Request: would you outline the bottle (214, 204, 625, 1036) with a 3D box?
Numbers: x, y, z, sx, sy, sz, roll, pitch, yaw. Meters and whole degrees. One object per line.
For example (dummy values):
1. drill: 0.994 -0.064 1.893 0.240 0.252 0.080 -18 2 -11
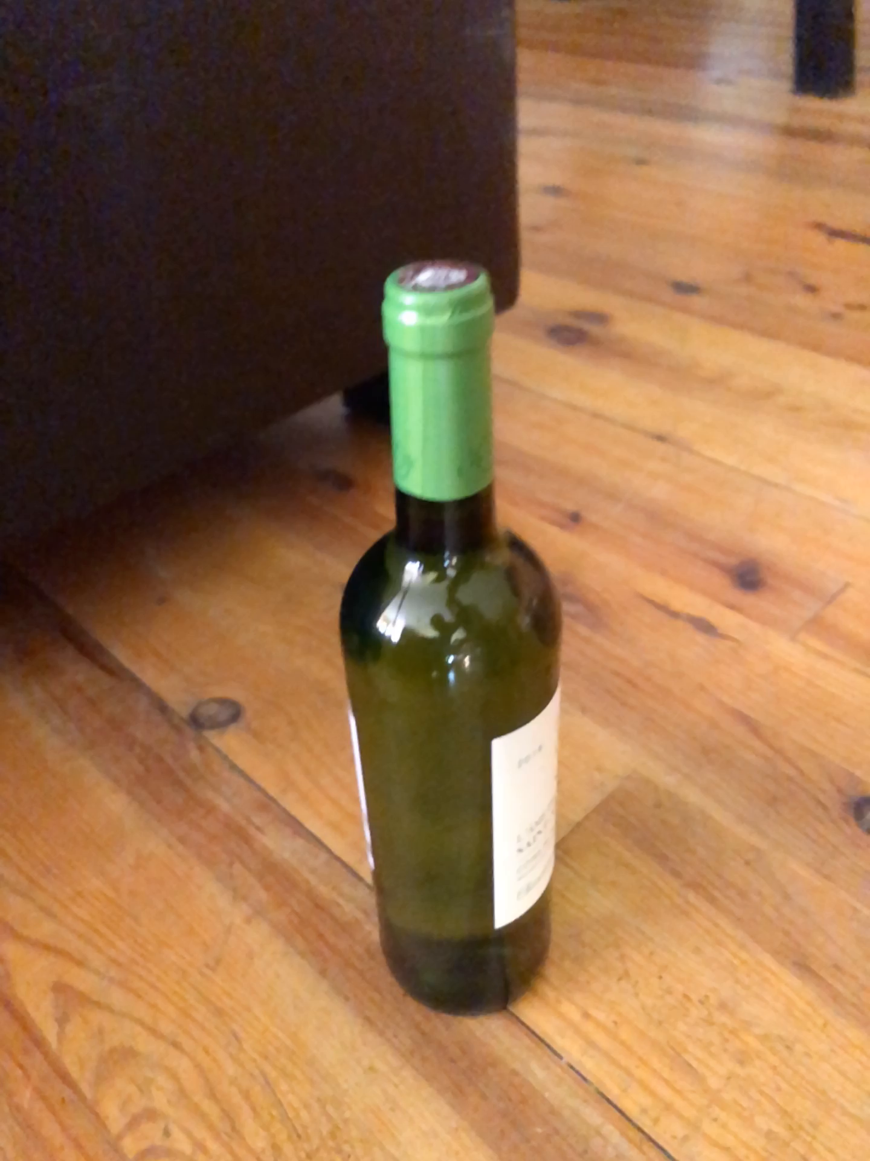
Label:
1. bottle: 0.007 0.034 0.347 0.080 0.298 0.081 -3 37 2
